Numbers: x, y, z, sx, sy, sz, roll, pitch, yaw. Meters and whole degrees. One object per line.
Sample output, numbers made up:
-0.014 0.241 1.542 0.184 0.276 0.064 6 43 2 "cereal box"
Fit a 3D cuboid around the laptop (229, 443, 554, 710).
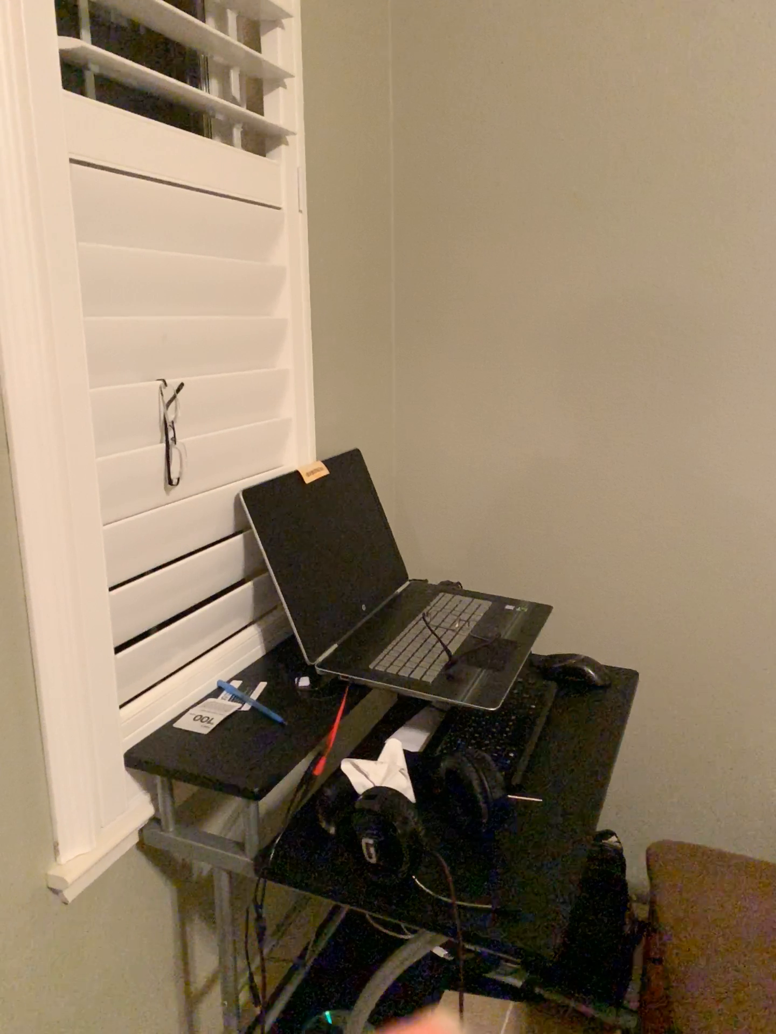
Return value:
0.034 0.062 1.357 0.418 0.264 0.434 8 15 20 "laptop"
